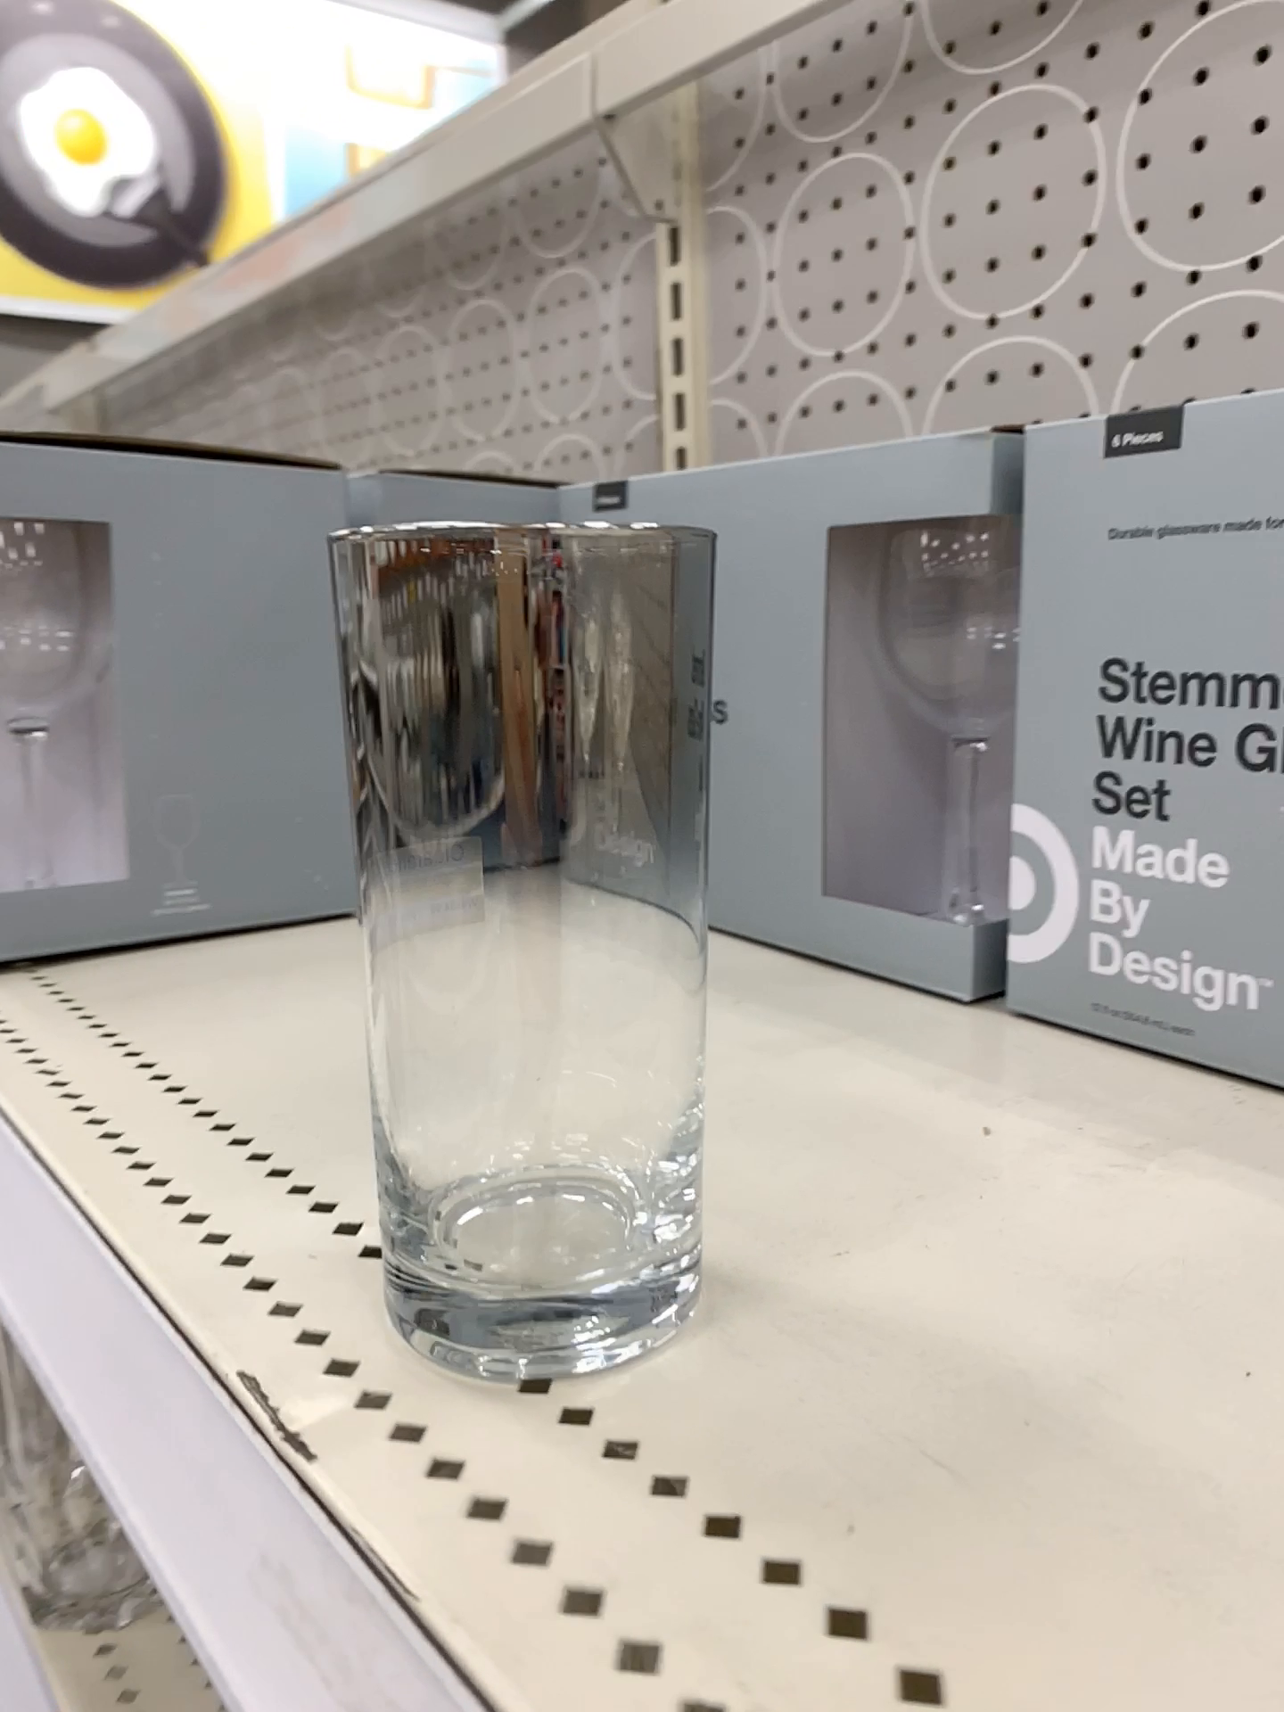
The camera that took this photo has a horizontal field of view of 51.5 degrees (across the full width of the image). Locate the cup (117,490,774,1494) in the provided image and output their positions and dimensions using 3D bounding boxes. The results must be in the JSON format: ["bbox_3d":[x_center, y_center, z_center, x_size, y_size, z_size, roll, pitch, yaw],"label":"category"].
[{"bbox_3d":[-0.029,0.015,0.245,0.080,0.150,0.080,-2,10,0],"label":"cup"}]
